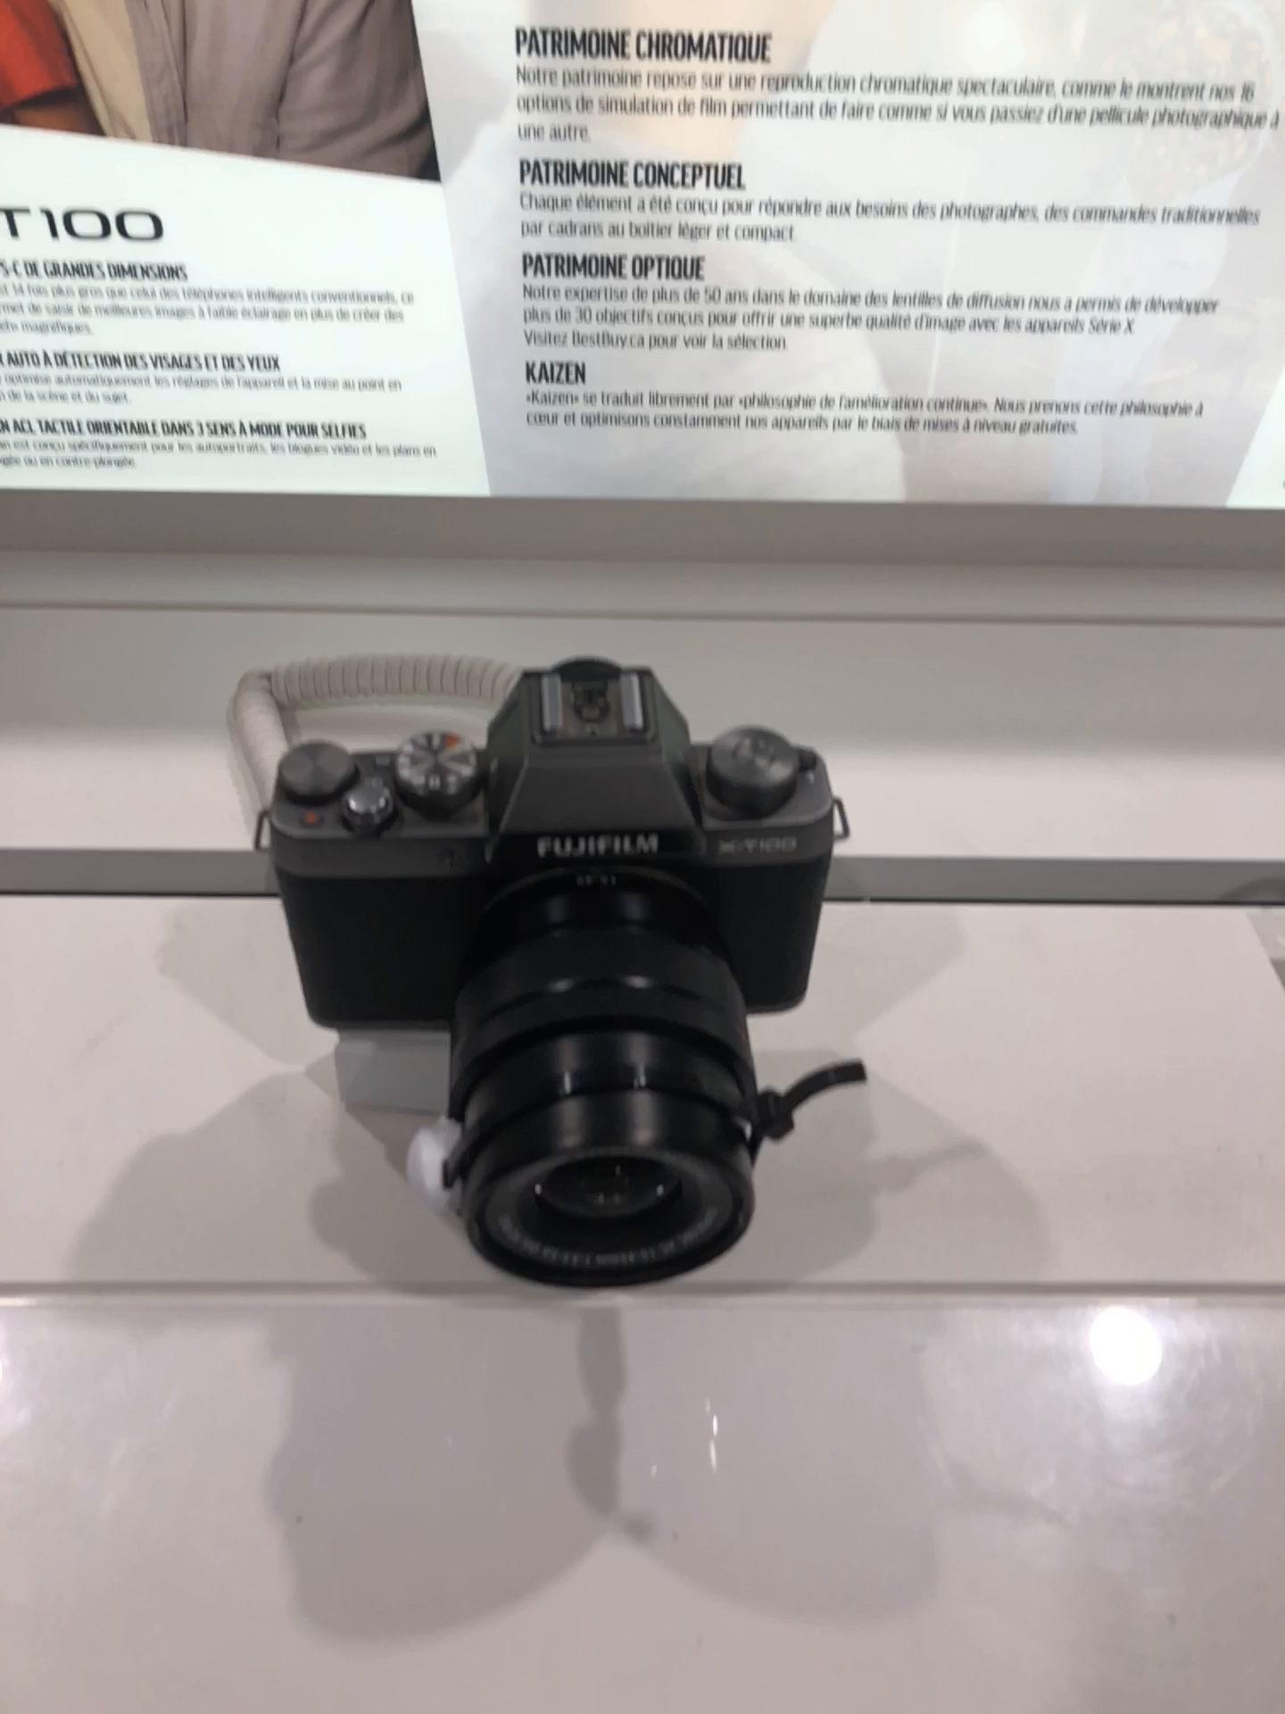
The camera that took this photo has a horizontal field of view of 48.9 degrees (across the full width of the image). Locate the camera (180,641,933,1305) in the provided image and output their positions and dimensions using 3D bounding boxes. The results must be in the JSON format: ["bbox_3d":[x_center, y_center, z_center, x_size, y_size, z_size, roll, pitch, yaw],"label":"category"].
[{"bbox_3d":[-0.017,0.024,0.317,0.130,0.099,0.108,-1,41,-2],"label":"camera"}]
